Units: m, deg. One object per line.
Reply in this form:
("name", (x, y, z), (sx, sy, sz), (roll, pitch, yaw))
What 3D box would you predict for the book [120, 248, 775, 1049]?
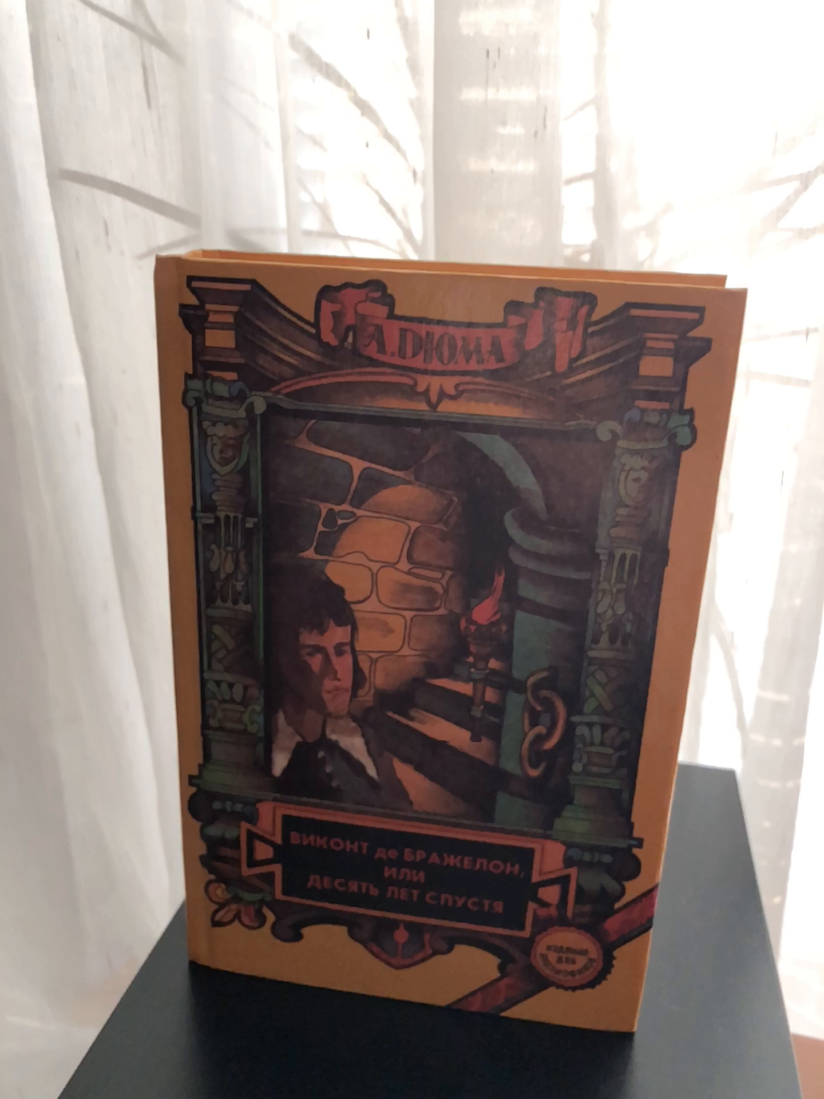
("book", (0.006, 0.029, 0.256), (0.142, 0.209, 0.045), (4, 20, 9))
